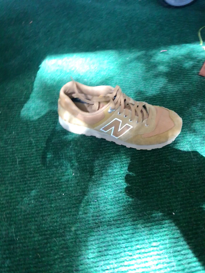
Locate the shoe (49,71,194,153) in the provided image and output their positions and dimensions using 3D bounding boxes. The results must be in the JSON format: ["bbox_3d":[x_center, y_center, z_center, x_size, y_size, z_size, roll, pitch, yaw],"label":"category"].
[{"bbox_3d":[0.038,-0.051,0.471,0.260,0.100,0.111,6,56,4],"label":"shoe"}]
